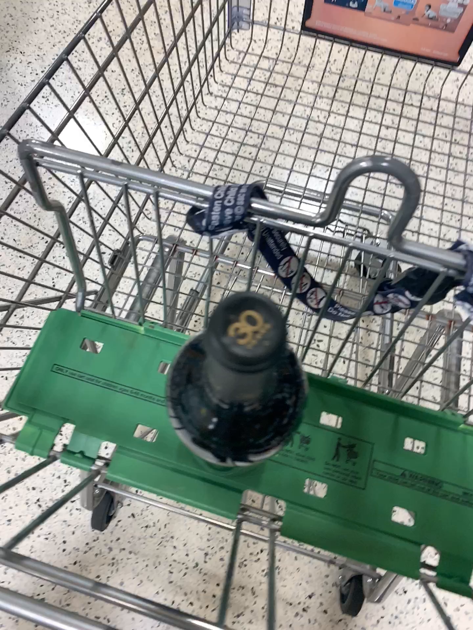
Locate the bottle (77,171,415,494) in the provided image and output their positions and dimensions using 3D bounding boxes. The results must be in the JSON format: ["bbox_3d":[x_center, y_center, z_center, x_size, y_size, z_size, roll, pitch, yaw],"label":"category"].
[{"bbox_3d":[-0.002,0.051,0.290,0.080,0.299,0.080,0,69,-1],"label":"bottle"}]
